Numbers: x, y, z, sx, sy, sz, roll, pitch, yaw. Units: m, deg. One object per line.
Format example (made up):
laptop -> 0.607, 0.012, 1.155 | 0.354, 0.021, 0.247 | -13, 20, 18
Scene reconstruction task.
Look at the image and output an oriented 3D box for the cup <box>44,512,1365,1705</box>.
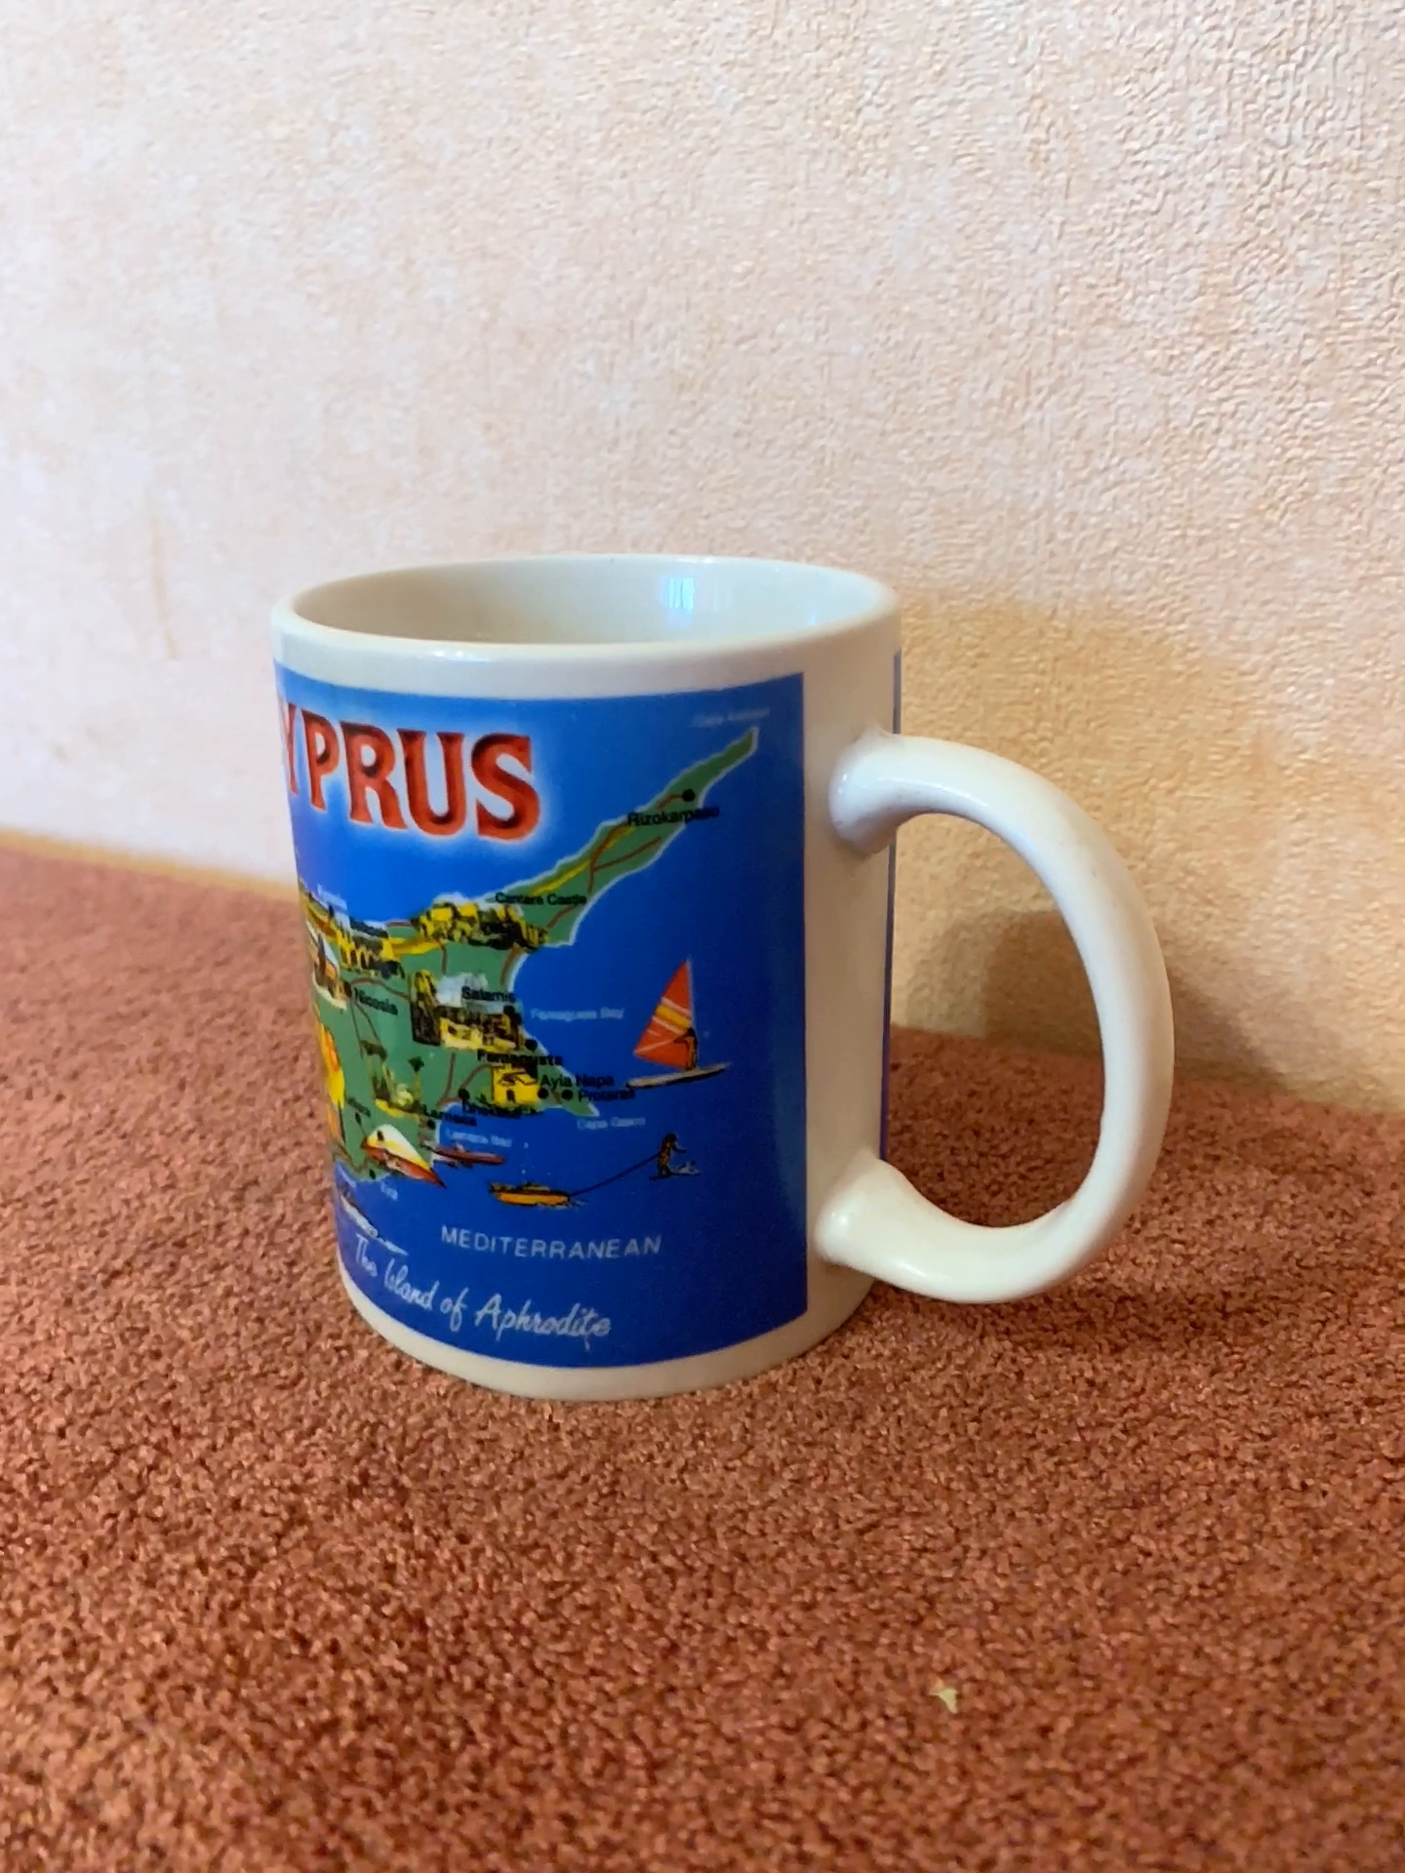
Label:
cup -> 0.003, 0.002, 0.179 | 0.119, 0.091, 0.085 | 11, 26, 31
